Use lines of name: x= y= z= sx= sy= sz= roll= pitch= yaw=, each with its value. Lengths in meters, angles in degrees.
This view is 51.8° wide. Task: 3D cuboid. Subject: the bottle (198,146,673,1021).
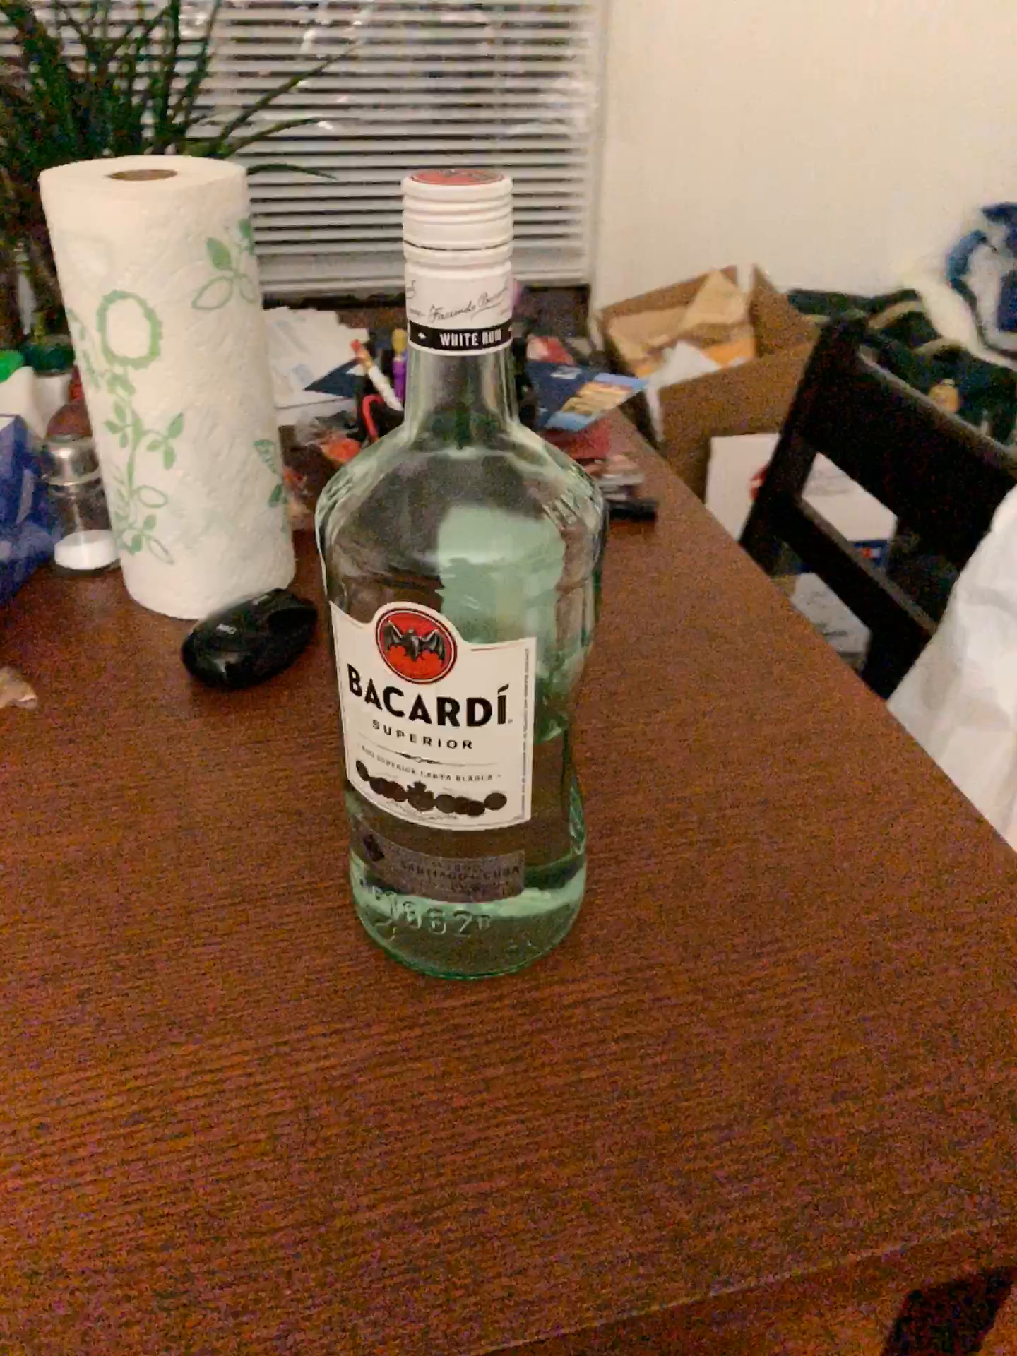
bottle: x=-0.018 y=-0.027 z=0.435 sx=0.120 sy=0.328 sz=0.121 roll=0 pitch=34 yaw=0
